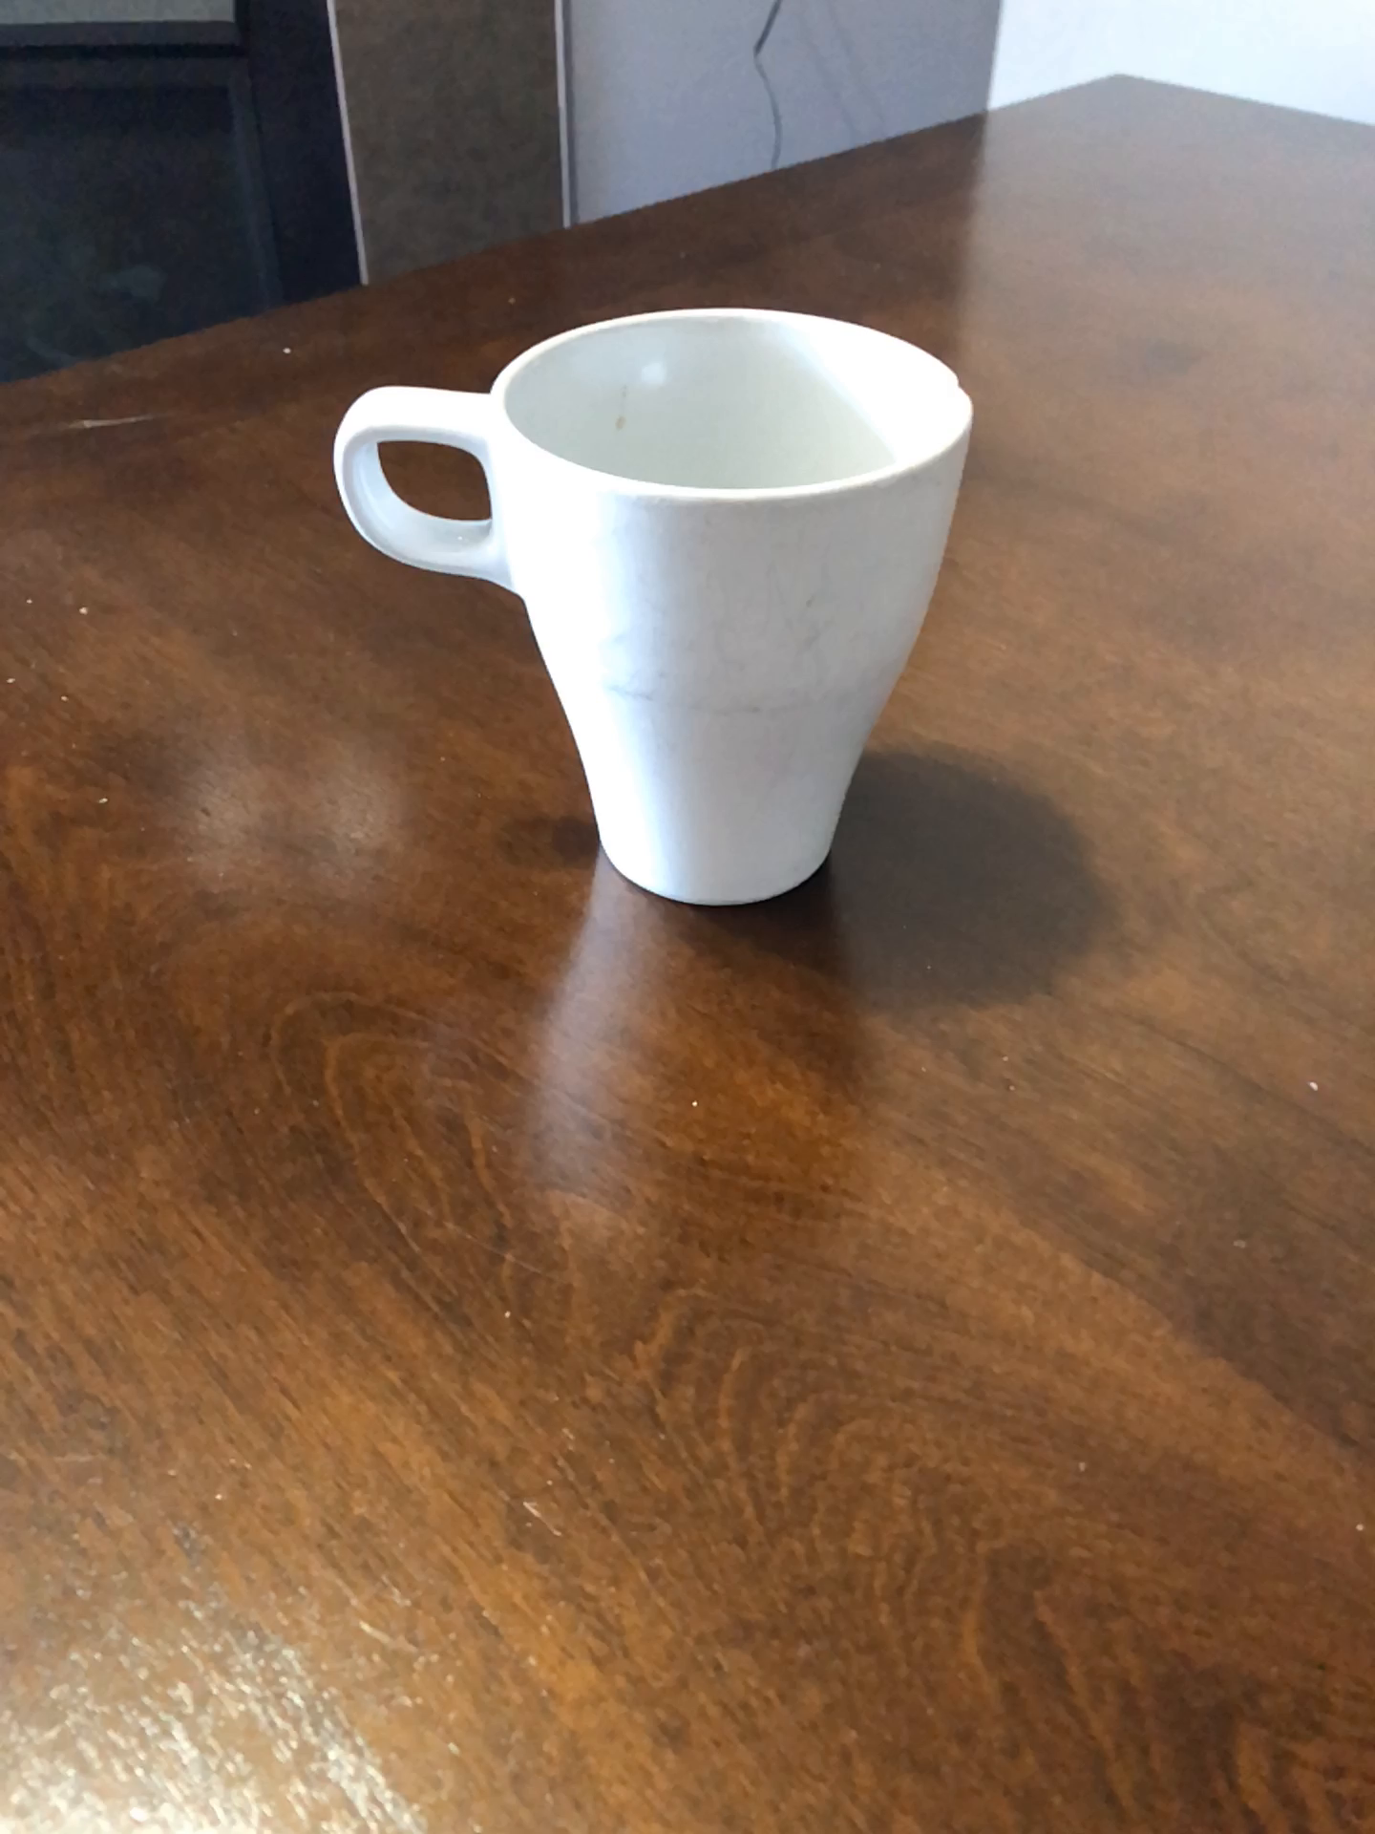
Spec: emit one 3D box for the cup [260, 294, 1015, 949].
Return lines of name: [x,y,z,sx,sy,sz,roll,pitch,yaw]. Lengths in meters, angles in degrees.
cup: [-0.008,-0.059,0.306,0.120,0.100,0.080,1,40,1]
